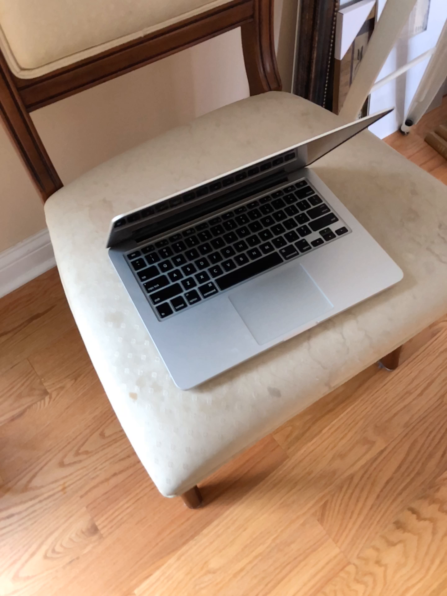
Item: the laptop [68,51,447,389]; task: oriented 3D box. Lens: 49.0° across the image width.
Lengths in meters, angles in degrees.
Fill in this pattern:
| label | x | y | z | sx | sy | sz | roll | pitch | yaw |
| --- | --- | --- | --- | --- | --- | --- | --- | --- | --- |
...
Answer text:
| label | x | y | z | sx | sy | sz | roll | pitch | yaw |
| --- | --- | --- | --- | --- | --- | --- | --- | --- | --- |
| laptop | 0.038 | -0.090 | 0.542 | 0.309 | 0.183 | 0.218 | -25 | 62 | -14 |
